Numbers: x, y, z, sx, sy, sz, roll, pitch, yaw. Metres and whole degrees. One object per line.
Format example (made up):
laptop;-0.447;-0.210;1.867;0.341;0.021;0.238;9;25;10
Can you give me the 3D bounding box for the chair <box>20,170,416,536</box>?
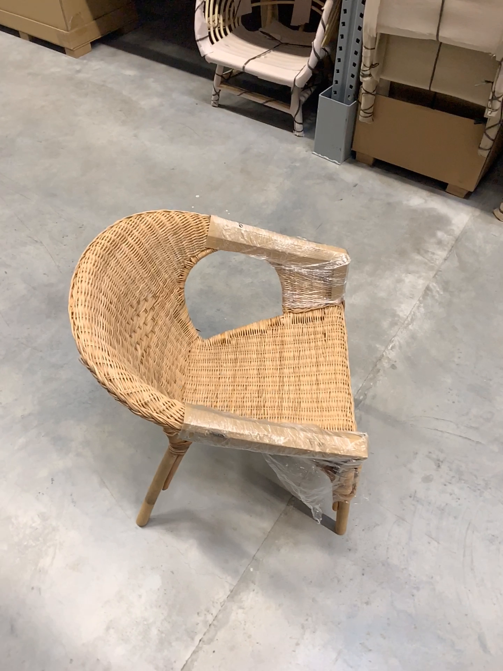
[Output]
chair;-0.048;0.082;1.320;0.650;0.758;0.602;1;51;1
